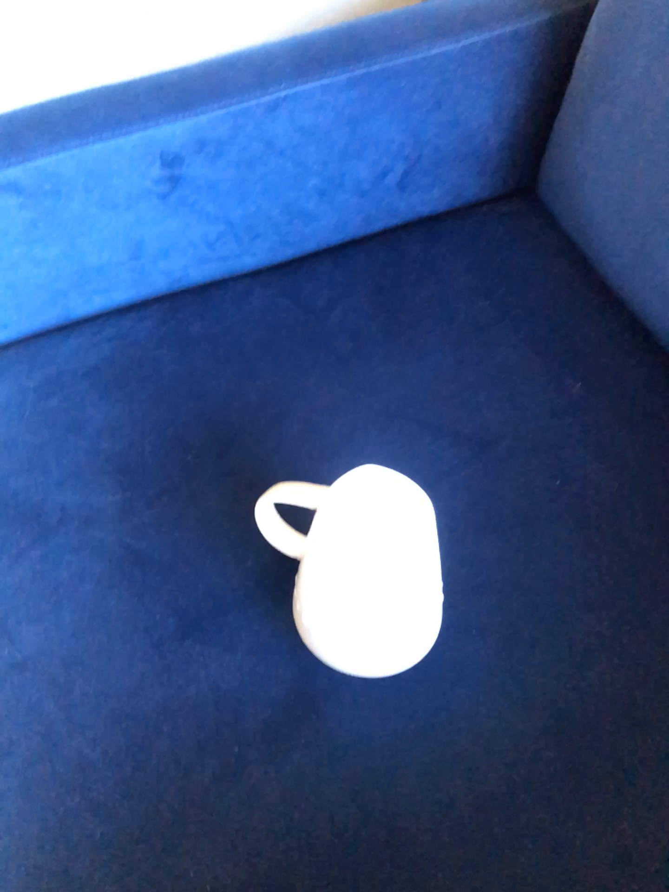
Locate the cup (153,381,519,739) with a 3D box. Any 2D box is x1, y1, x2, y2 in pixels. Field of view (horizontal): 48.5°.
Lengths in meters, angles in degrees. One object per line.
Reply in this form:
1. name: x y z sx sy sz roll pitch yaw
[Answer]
1. cup: 0.003 0.059 0.413 0.150 0.090 0.110 28 60 23
